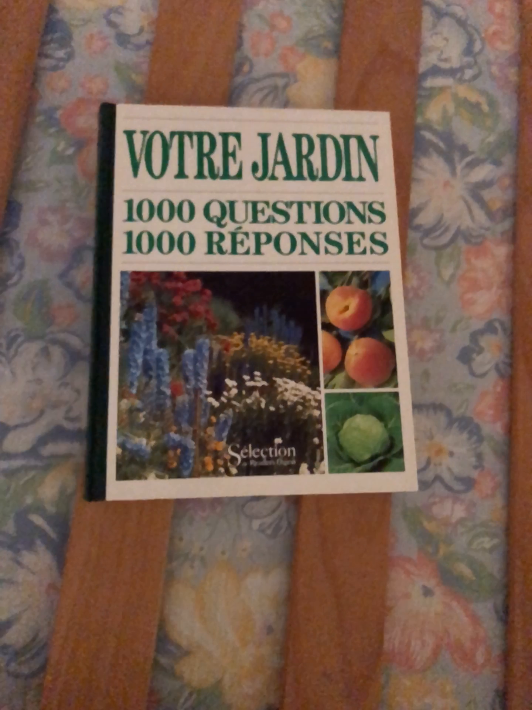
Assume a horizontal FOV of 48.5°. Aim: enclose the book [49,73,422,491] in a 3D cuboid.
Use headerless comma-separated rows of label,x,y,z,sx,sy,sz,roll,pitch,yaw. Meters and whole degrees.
book,-0.020,-0.050,0.399,0.220,0.050,0.270,0,79,-5
